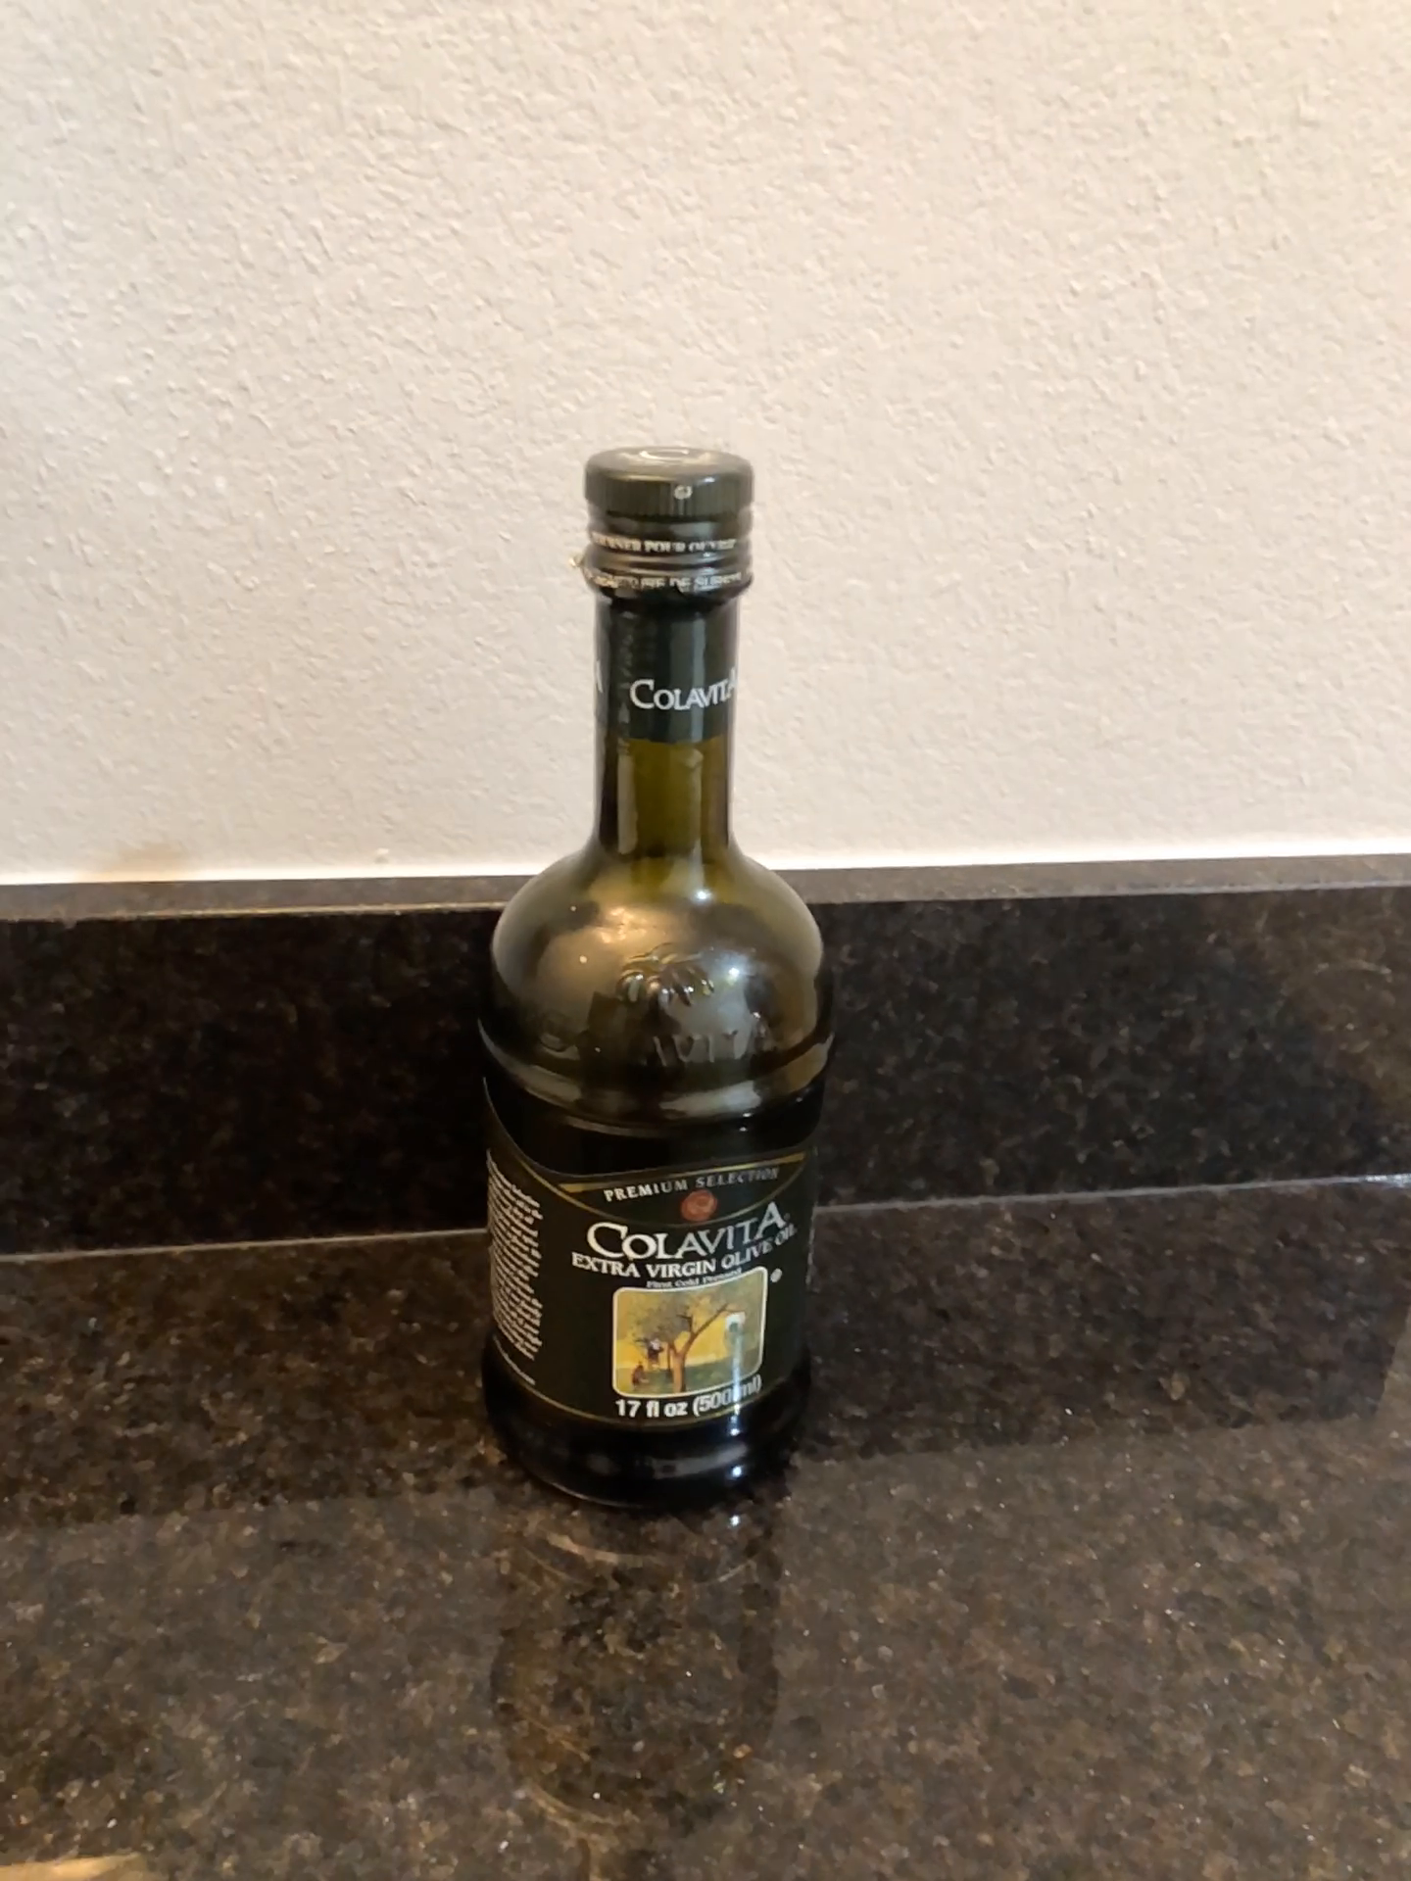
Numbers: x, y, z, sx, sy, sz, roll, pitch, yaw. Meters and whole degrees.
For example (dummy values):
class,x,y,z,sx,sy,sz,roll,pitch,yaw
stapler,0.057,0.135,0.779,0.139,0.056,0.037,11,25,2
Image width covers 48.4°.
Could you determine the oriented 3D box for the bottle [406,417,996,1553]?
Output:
class,x,y,z,sx,sy,sz,roll,pitch,yaw
bottle,-0.011,0.010,0.335,0.090,0.219,0.090,2,27,-1
